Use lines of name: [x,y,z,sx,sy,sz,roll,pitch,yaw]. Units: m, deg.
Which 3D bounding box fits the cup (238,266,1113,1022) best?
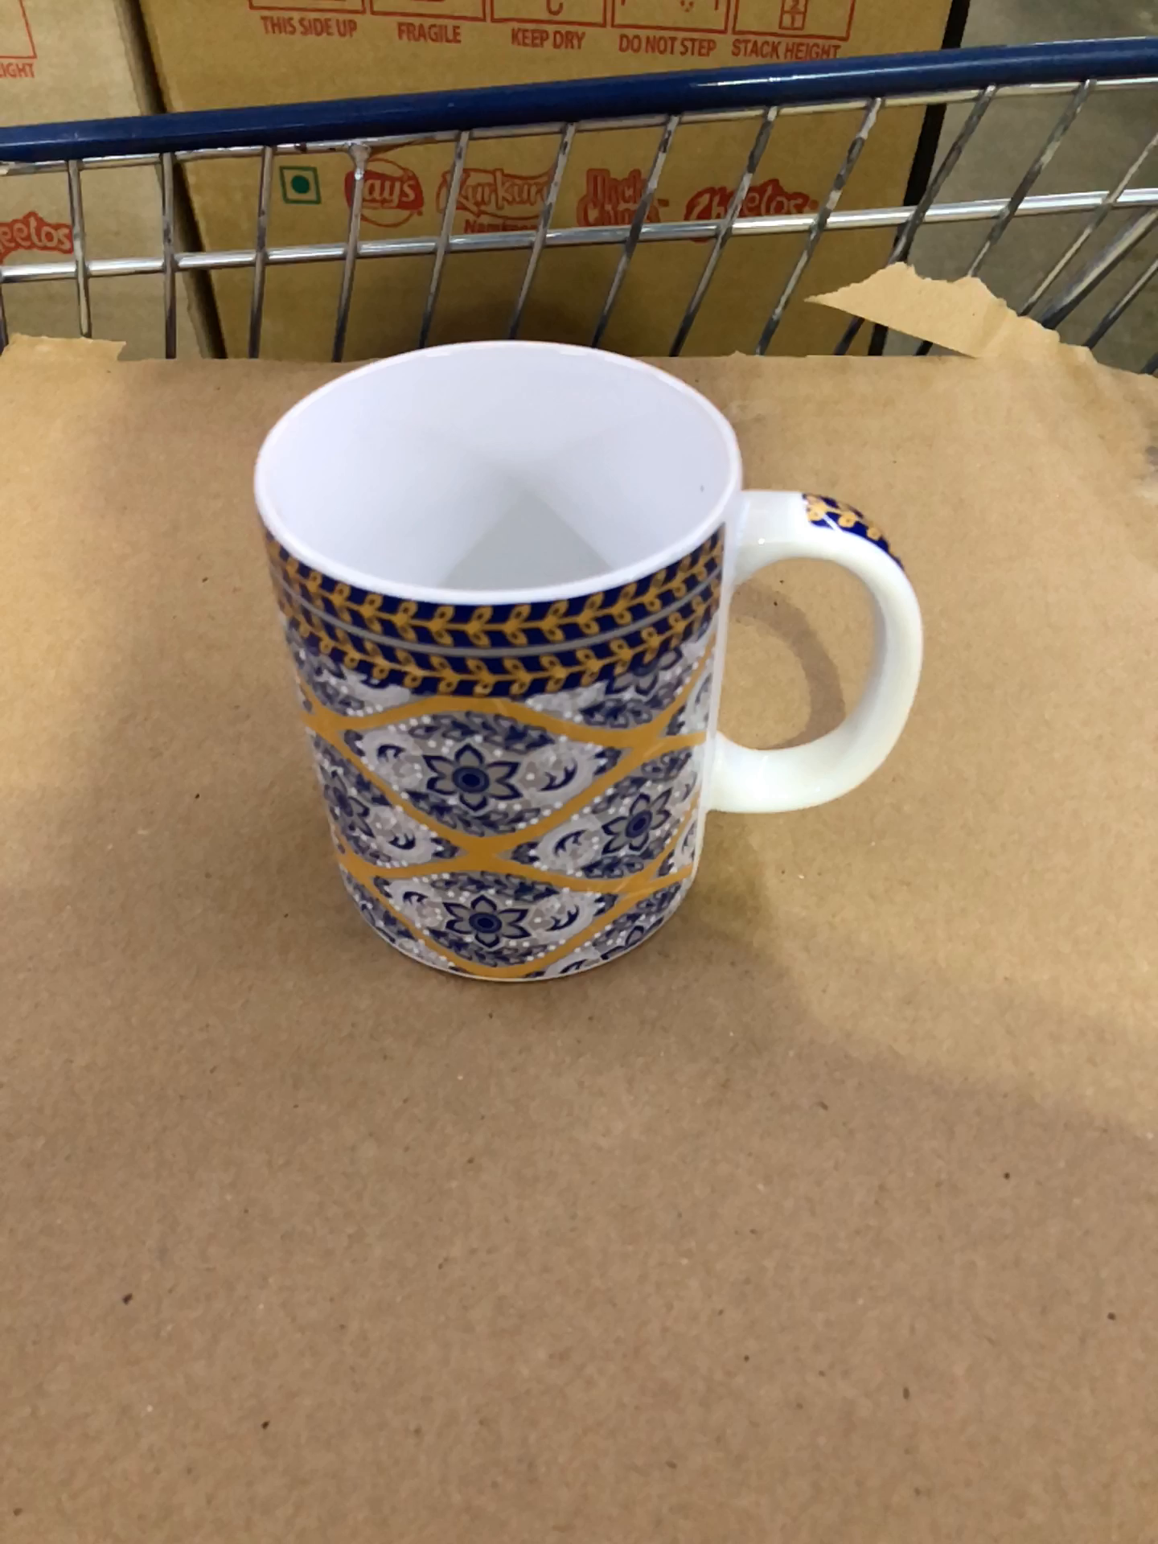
cup: [0.010,-0.024,0.236,0.120,0.099,0.080,-6,41,-5]
